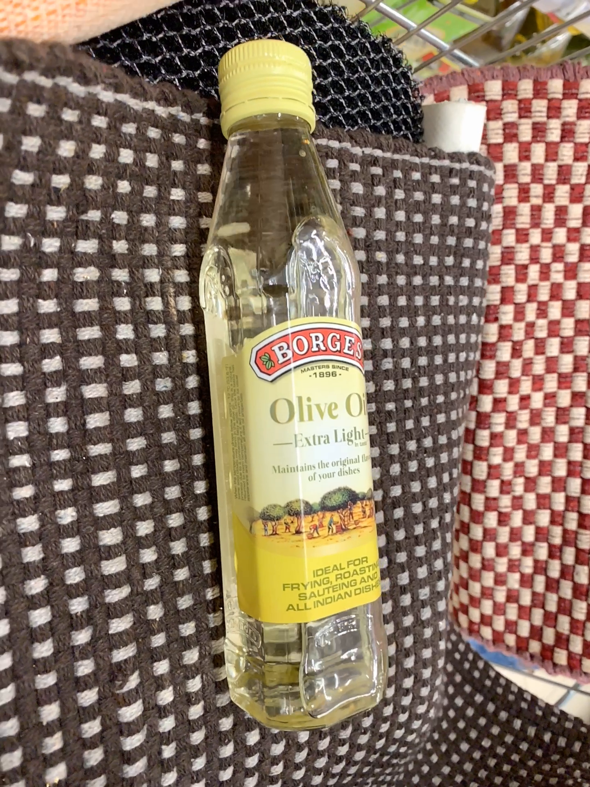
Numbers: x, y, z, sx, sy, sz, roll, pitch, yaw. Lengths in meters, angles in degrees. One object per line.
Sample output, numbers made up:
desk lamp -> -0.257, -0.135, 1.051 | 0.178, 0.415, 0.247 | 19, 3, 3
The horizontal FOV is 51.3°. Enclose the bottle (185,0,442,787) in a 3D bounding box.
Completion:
bottle -> 0.006, -0.001, 0.188 | 0.060, 0.040, 0.200 | -2, 90, -36
